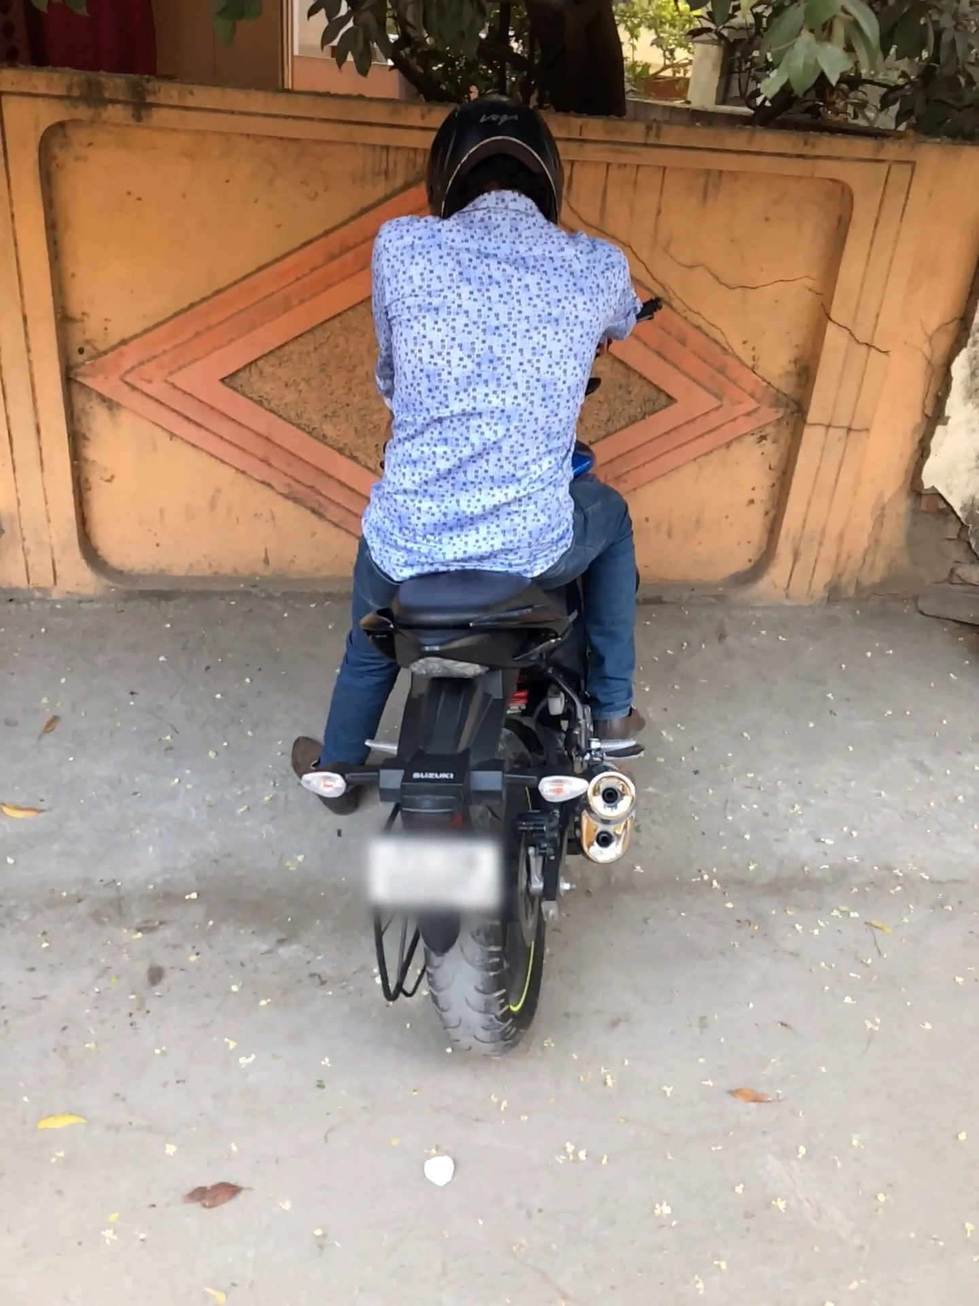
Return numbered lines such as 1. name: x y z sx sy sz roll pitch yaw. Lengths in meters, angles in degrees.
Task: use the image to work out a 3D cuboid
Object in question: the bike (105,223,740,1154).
1. bike: -0.115 -0.175 2.429 0.793 1.188 1.899 6 29 0
